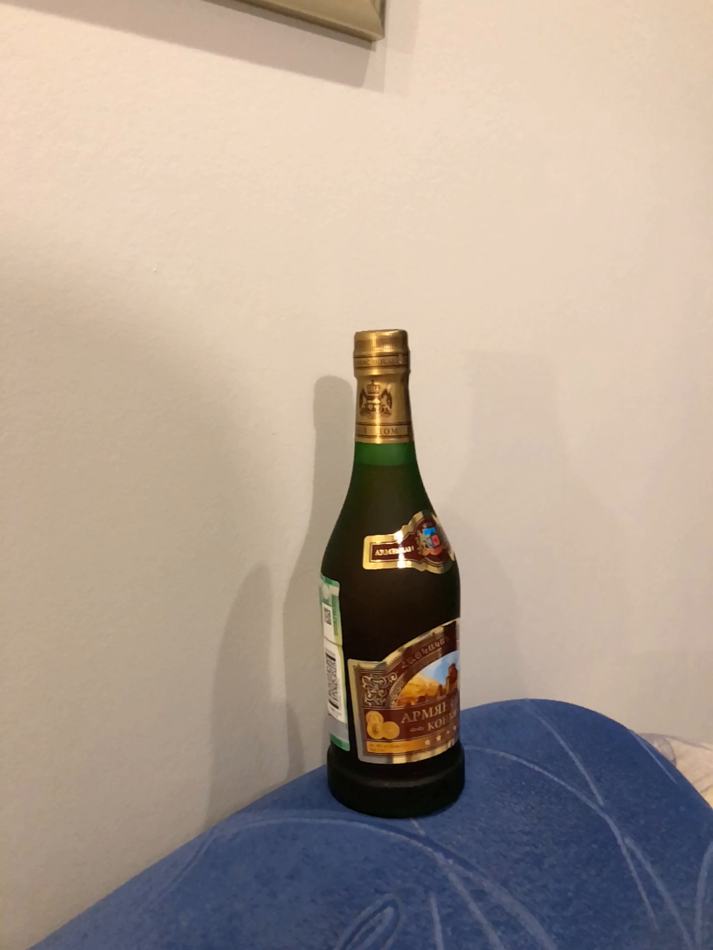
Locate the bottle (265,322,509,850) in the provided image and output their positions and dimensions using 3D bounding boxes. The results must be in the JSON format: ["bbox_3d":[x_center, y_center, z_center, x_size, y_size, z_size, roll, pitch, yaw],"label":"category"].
[{"bbox_3d":[0.020,0.046,0.410,0.080,0.243,0.090,6,12,42],"label":"bottle"}]
